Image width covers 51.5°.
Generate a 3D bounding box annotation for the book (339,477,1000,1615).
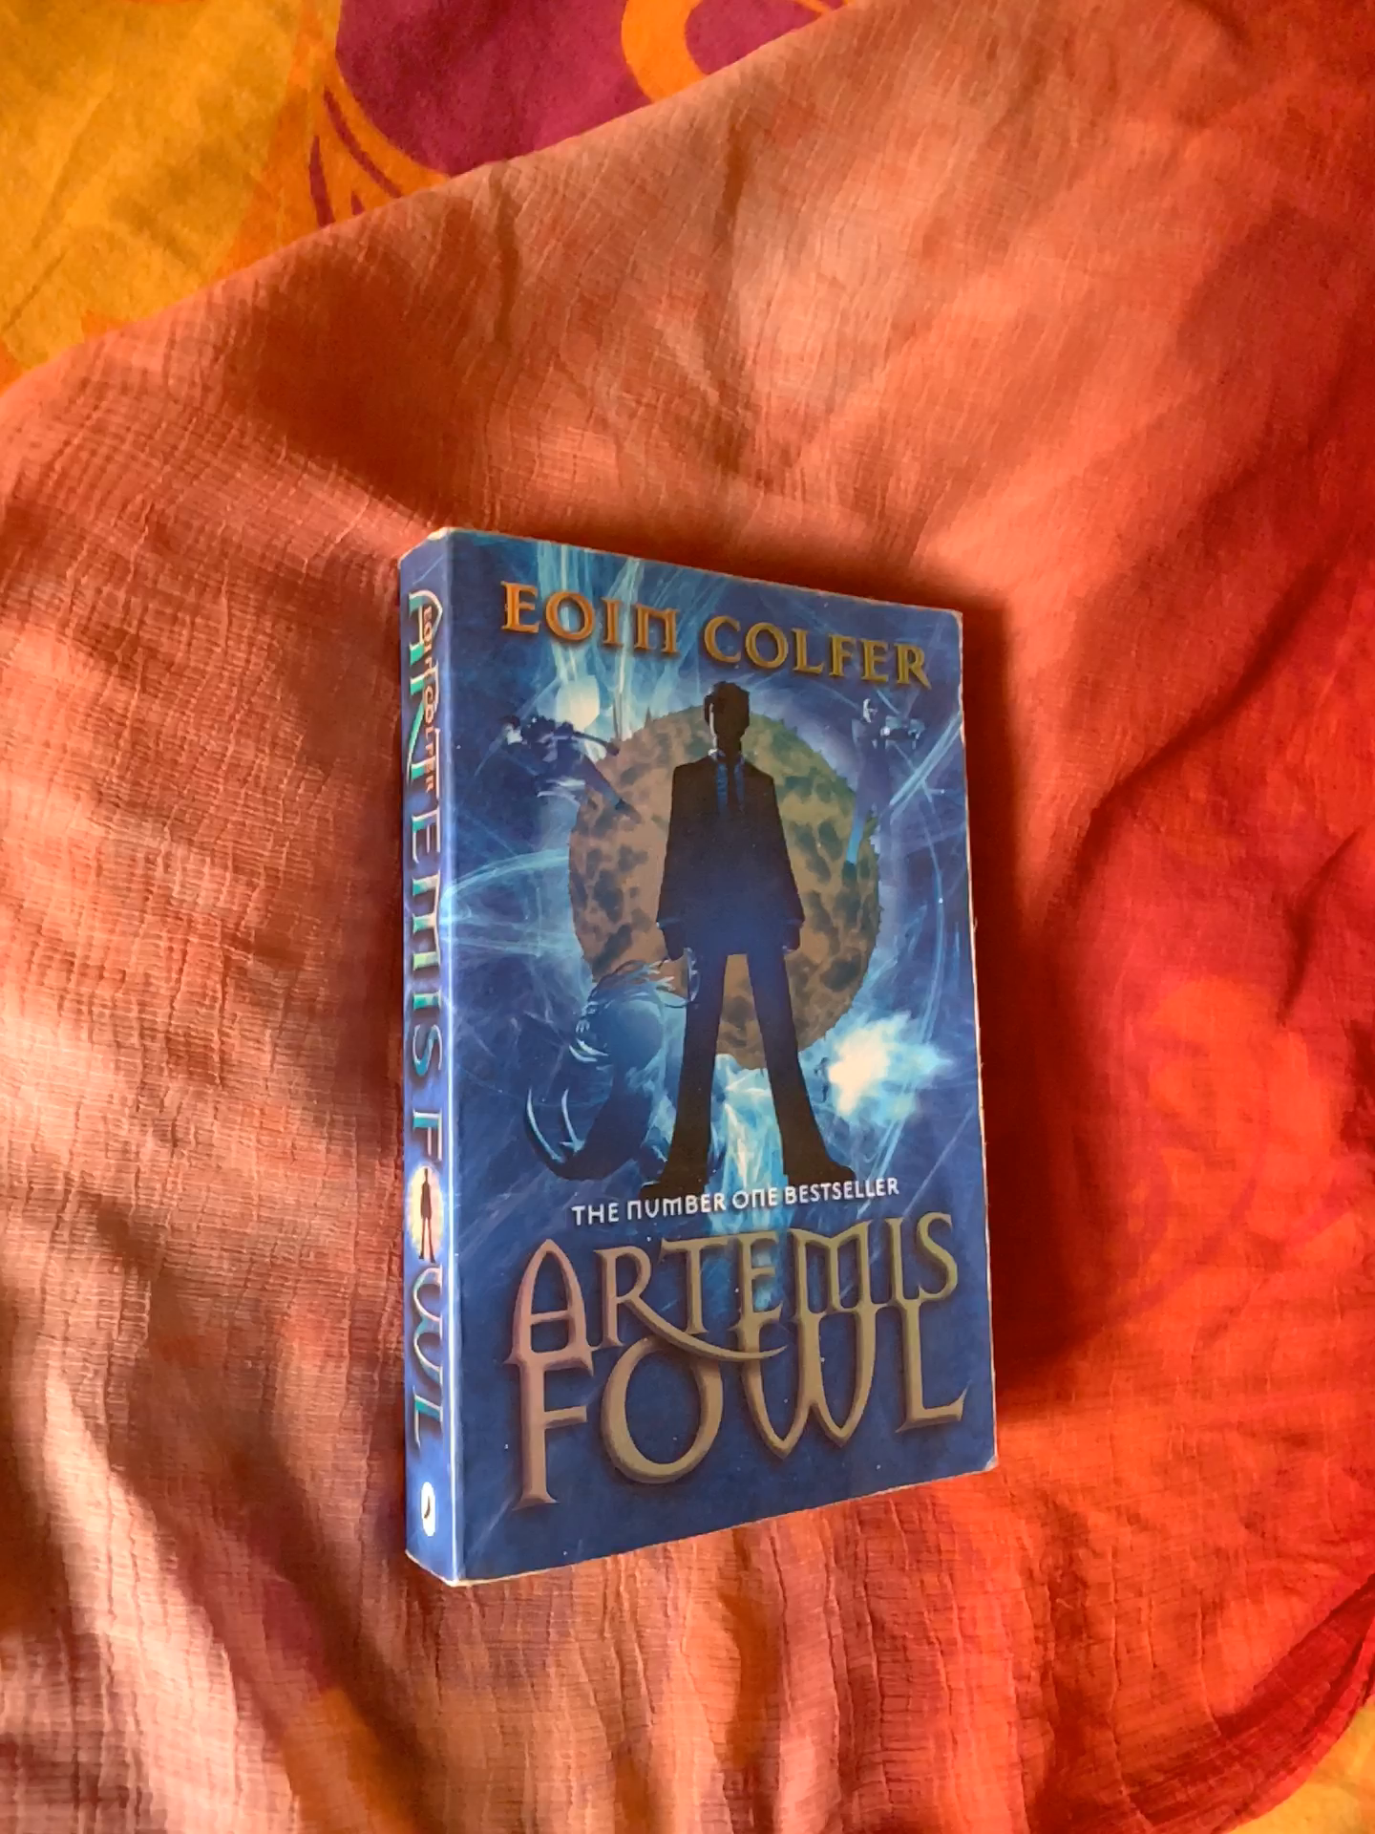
[{"bbox_3d":[0.001,0.022,0.283,0.130,0.030,0.190,2,87,-29],"label":"book"}]
